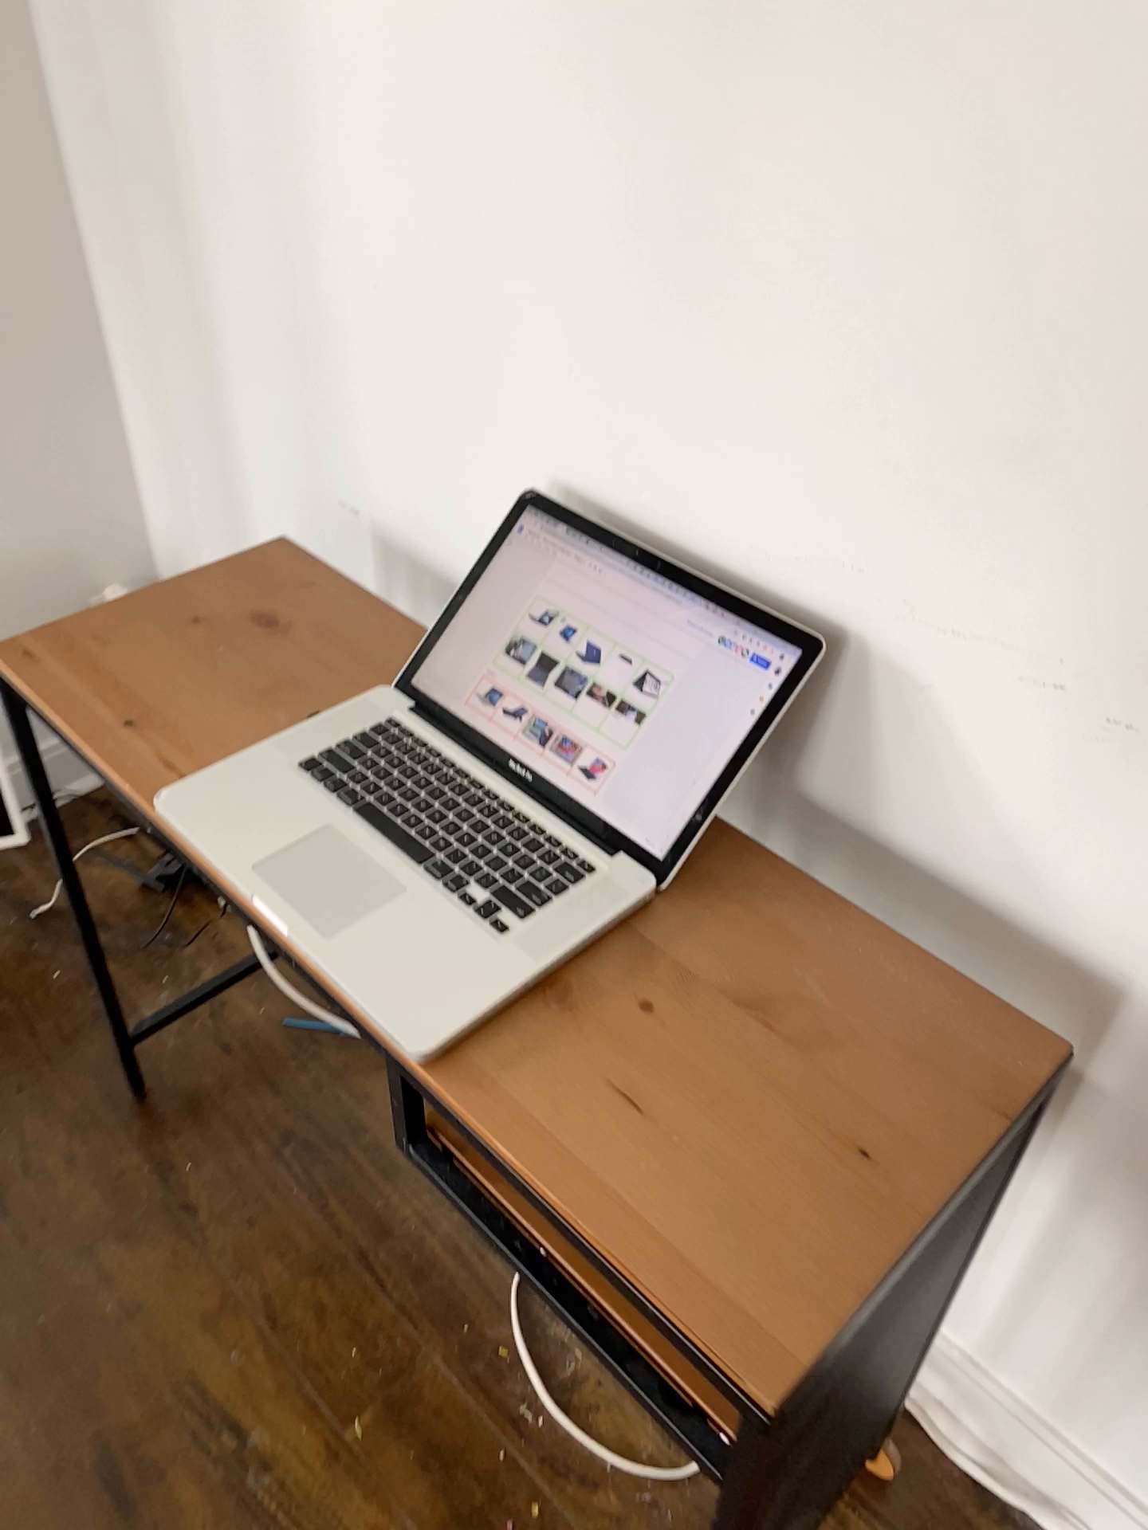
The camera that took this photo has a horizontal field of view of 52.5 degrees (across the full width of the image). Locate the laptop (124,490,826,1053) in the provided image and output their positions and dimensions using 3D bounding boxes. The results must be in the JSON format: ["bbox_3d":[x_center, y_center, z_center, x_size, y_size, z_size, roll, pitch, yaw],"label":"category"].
[{"bbox_3d":[-0.076,-0.036,1.000,0.440,0.151,0.369,-31,50,-34],"label":"laptop"}]
